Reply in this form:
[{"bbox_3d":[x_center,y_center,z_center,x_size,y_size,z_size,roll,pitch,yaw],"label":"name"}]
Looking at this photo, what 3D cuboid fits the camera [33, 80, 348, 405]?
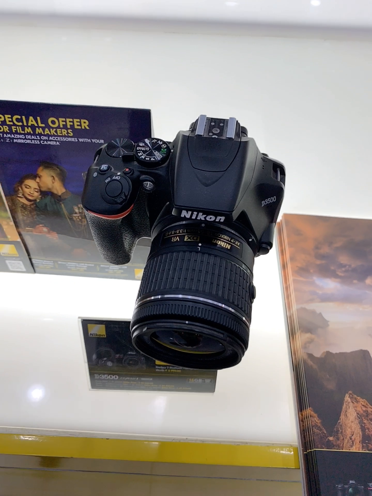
[{"bbox_3d":[0.009,-0.011,0.206,0.110,0.070,0.150,7,54,4],"label":"camera"}]
